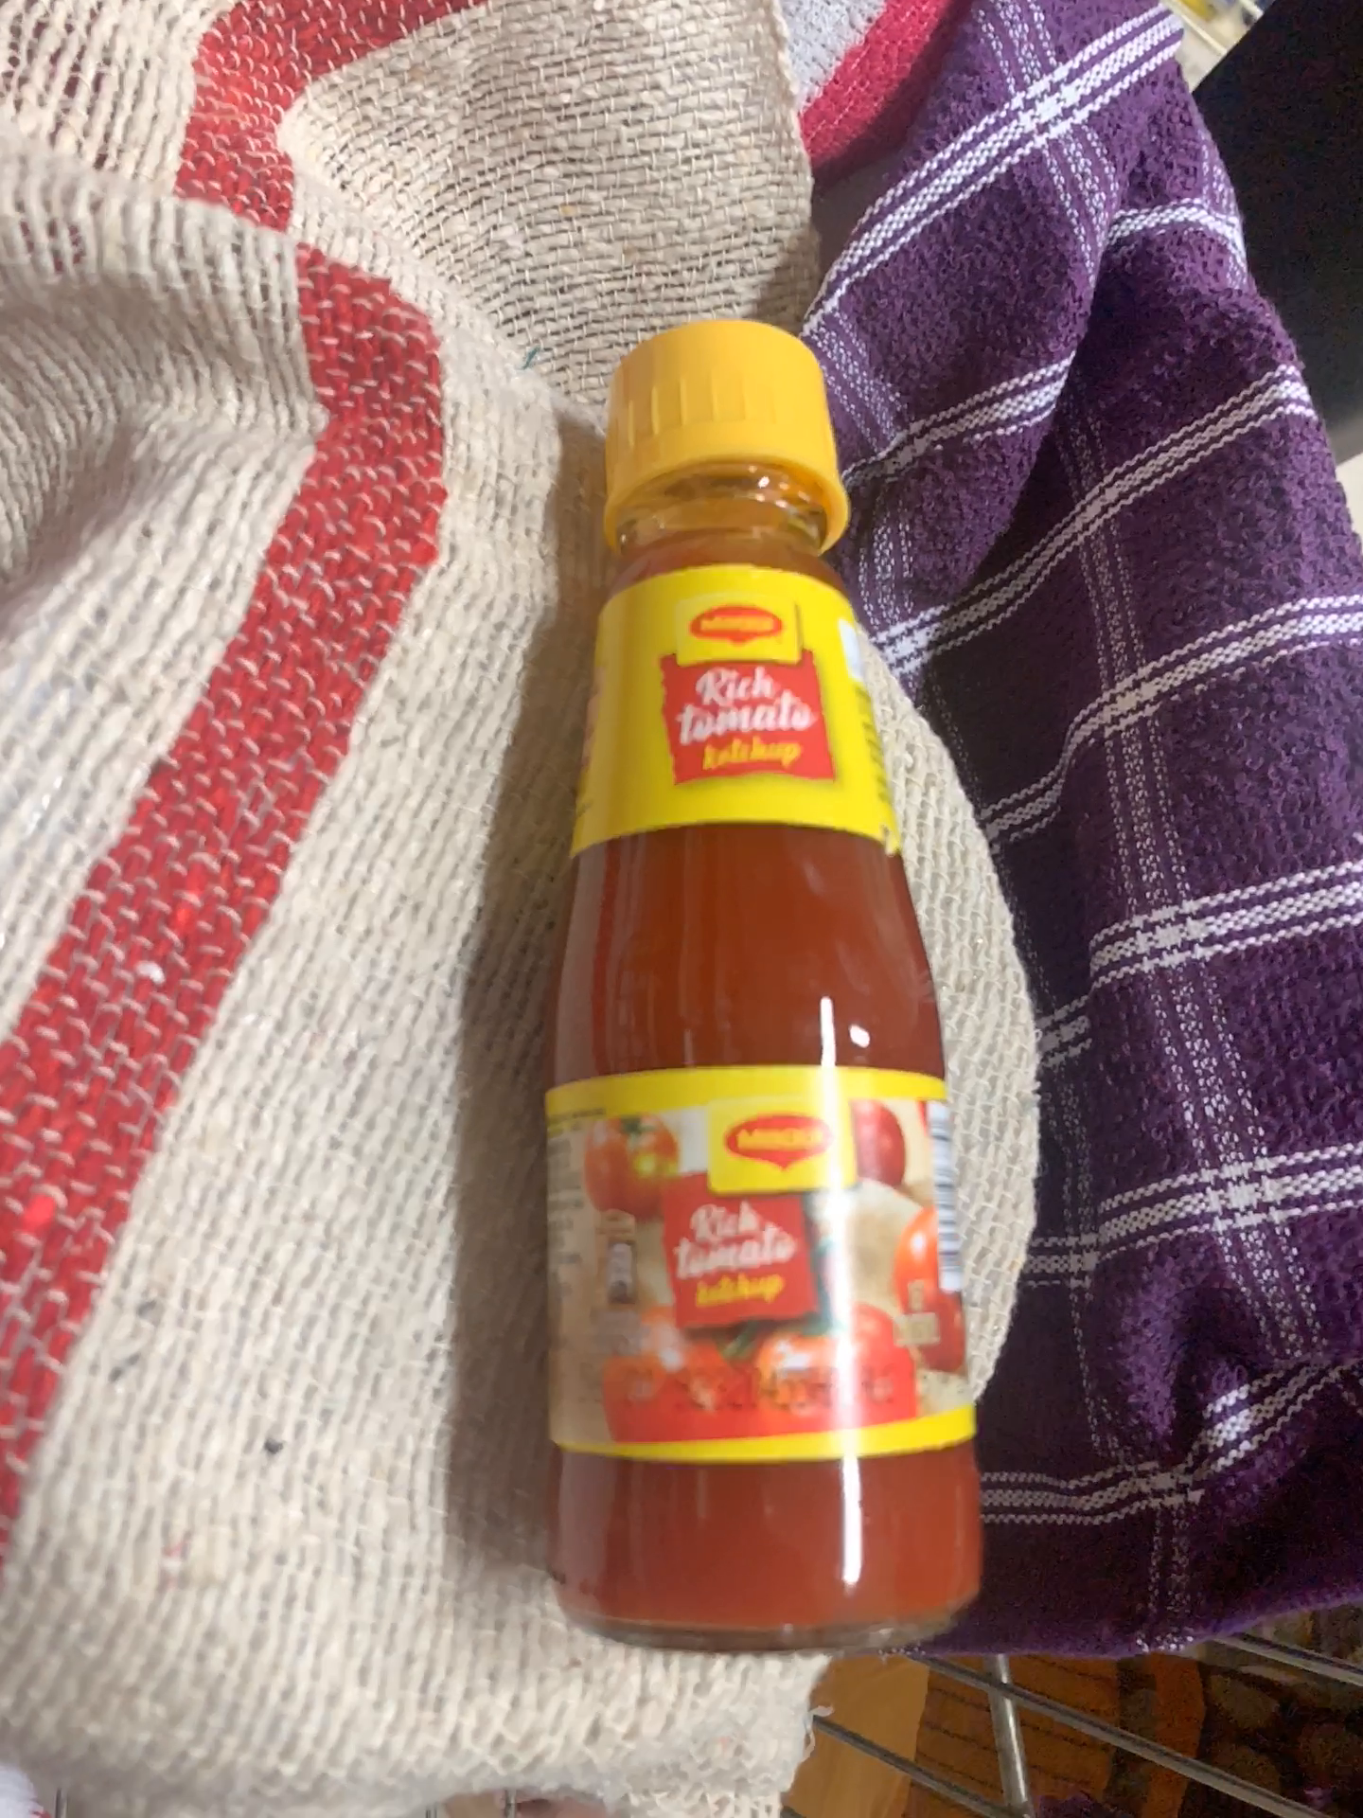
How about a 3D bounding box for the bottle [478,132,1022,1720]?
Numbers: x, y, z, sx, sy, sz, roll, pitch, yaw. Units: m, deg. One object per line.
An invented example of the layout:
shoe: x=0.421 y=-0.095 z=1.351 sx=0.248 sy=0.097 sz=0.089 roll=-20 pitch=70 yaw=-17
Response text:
bottle: x=0.003 y=-0.004 z=0.173 sx=0.050 sy=0.050 sz=0.170 roll=-1 pitch=77 yaw=-3
